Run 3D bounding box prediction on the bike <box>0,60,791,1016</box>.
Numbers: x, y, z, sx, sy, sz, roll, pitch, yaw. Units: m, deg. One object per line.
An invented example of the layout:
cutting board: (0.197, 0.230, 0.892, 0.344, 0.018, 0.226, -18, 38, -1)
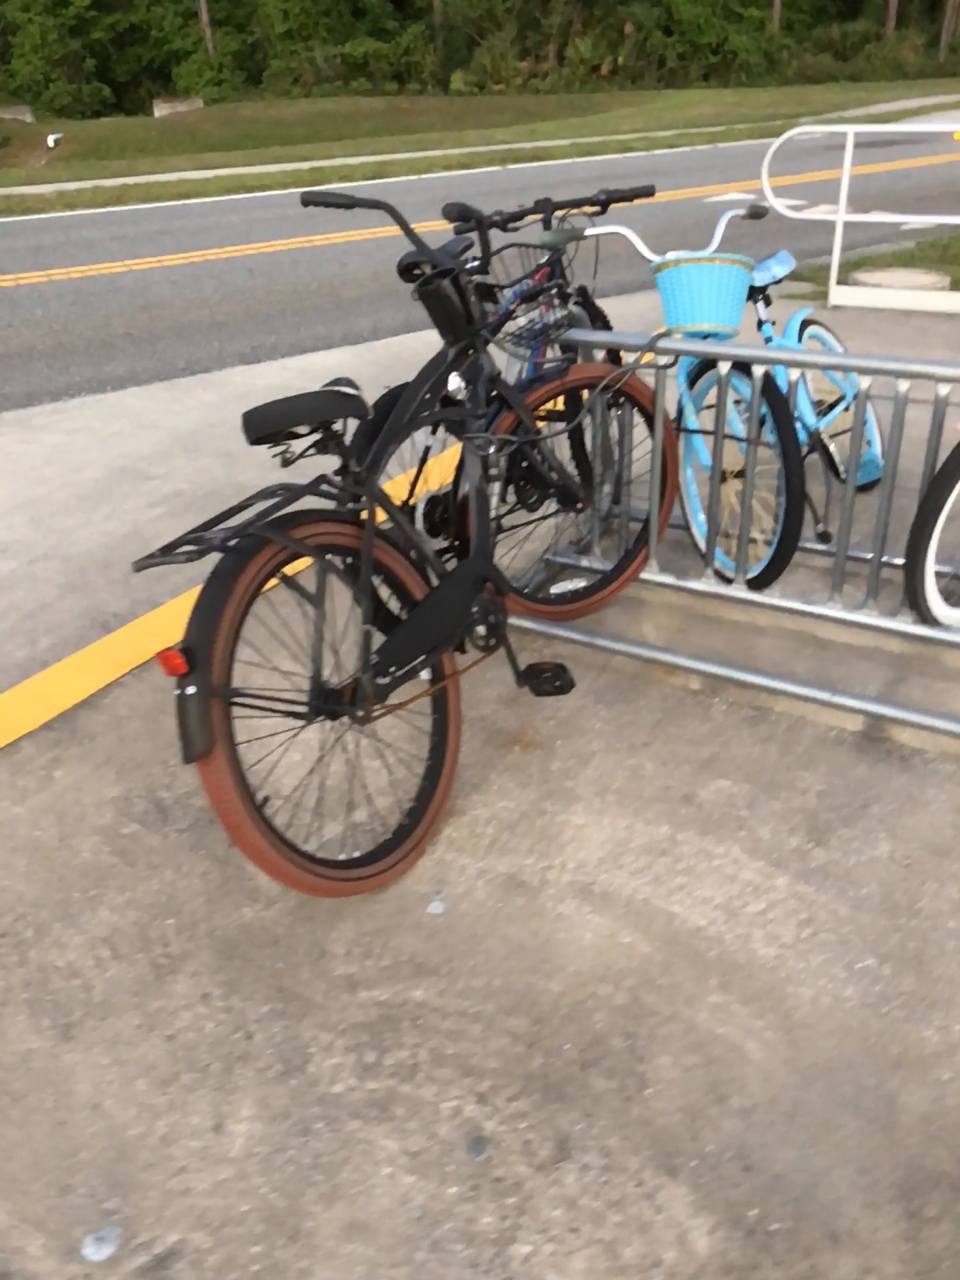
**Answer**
bike: (-0.067, -0.414, 2.202, 0.830, 1.116, 1.729, 13, 37, 26)
